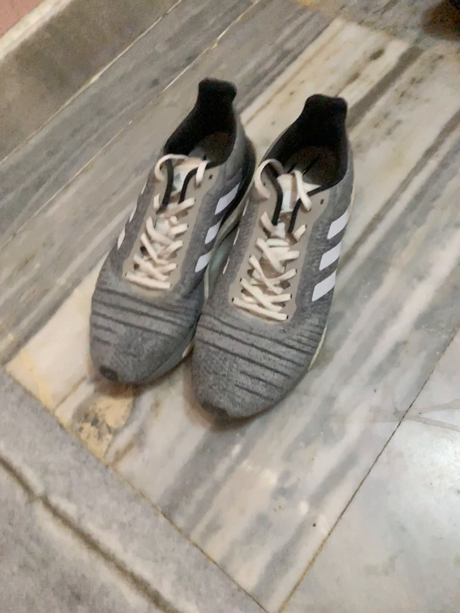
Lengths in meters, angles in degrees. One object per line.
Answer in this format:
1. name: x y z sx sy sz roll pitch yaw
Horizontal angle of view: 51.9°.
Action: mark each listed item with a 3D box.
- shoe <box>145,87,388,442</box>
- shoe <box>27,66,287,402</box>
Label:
1. shoe: 0.046 -0.050 0.429 0.120 0.090 0.299 14 67 14
2. shoe: -0.048 -0.082 0.450 0.110 0.080 0.309 17 68 15
